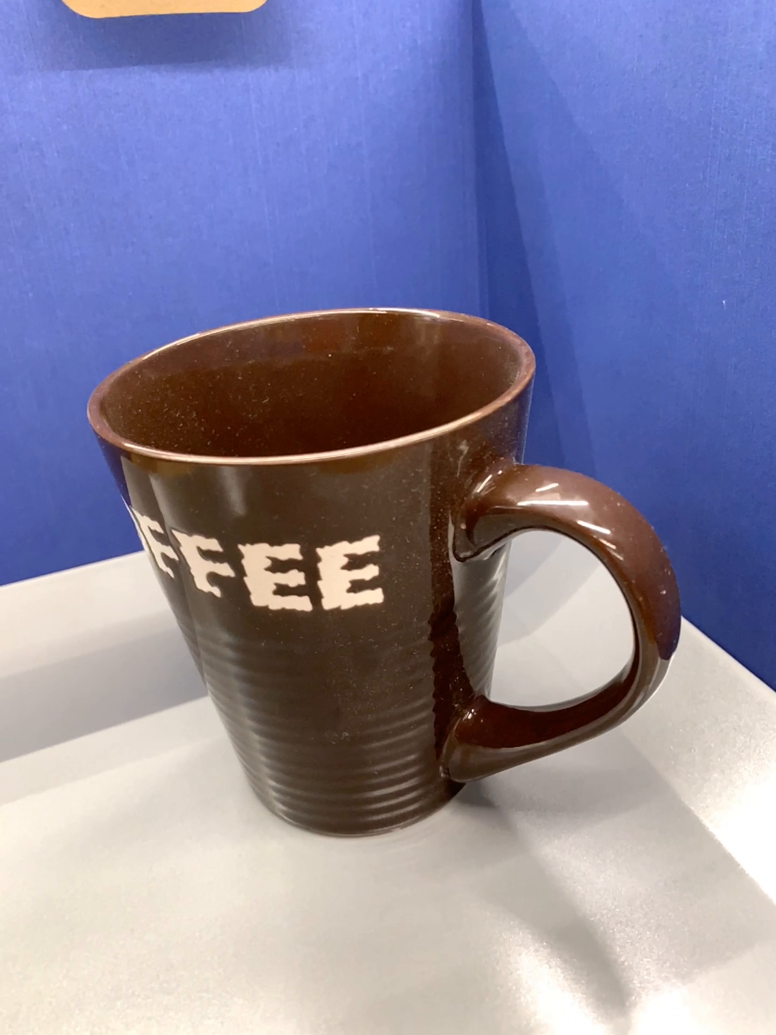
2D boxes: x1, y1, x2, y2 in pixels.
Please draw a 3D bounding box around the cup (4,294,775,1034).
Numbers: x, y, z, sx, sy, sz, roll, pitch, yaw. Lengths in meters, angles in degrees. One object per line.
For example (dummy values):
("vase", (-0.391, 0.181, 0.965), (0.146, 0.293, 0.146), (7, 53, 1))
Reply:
("cup", (0.005, 0.014, 0.181), (0.128, 0.098, 0.089), (14, 34, 33))
